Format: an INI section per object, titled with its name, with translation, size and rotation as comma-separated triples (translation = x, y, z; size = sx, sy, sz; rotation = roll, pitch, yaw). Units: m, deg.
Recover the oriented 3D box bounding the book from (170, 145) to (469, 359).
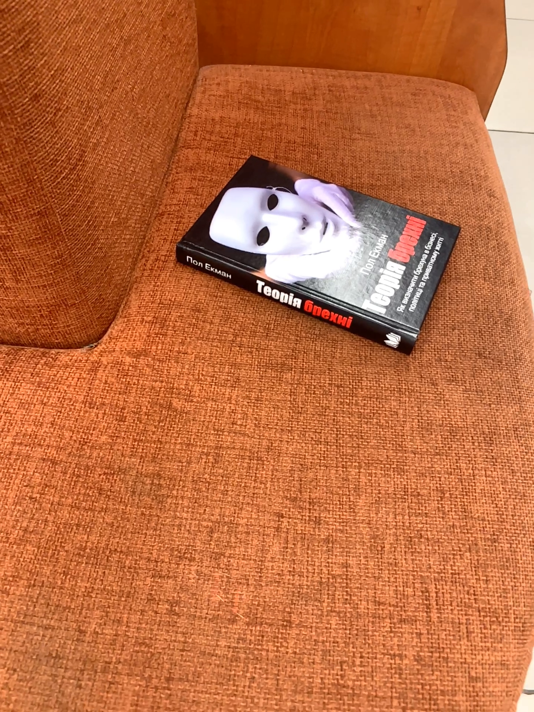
[book]
translation = 0.048, -0.099, 0.469
size = 0.209, 0.030, 0.150
rotation = 21, 58, 13
